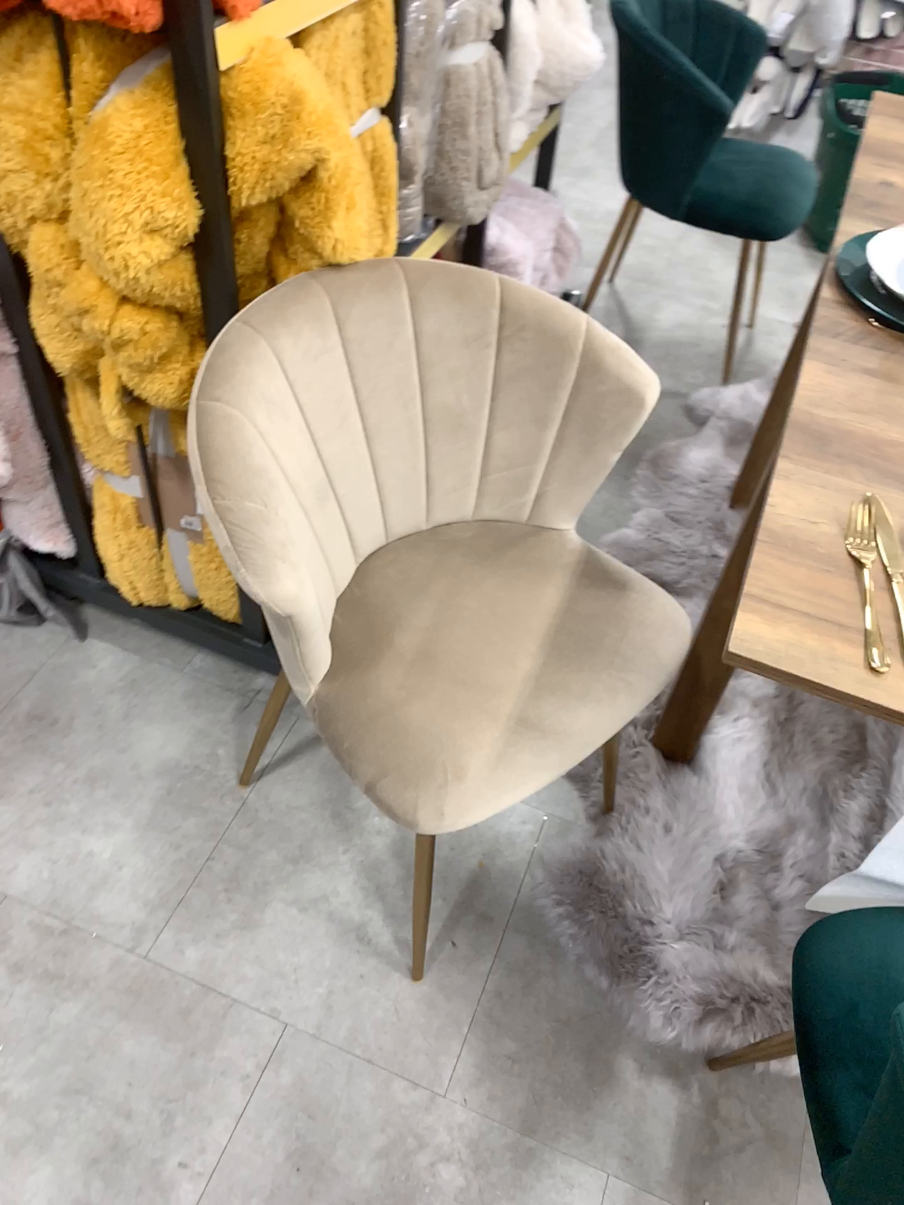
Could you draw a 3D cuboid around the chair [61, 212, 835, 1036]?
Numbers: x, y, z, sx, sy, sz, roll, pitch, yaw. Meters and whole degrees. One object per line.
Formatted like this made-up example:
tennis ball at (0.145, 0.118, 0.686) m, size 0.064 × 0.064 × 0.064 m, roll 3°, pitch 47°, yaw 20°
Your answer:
chair at (-0.029, 0.025, 1.182) m, size 0.562 × 0.722 × 0.537 m, roll -31°, pitch 57°, yaw -30°
